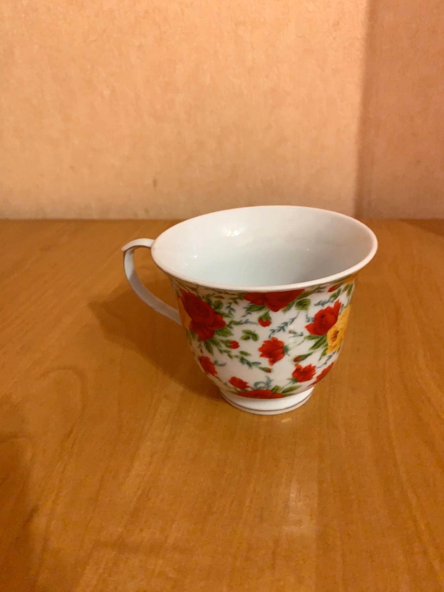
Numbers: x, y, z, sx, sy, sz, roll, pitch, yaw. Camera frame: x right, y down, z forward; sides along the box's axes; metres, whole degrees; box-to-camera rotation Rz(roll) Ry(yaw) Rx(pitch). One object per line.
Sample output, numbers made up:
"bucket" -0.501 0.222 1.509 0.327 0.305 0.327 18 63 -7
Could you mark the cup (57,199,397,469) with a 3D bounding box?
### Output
"cup" 0.012 0.004 0.215 0.120 0.067 0.100 6 29 20
